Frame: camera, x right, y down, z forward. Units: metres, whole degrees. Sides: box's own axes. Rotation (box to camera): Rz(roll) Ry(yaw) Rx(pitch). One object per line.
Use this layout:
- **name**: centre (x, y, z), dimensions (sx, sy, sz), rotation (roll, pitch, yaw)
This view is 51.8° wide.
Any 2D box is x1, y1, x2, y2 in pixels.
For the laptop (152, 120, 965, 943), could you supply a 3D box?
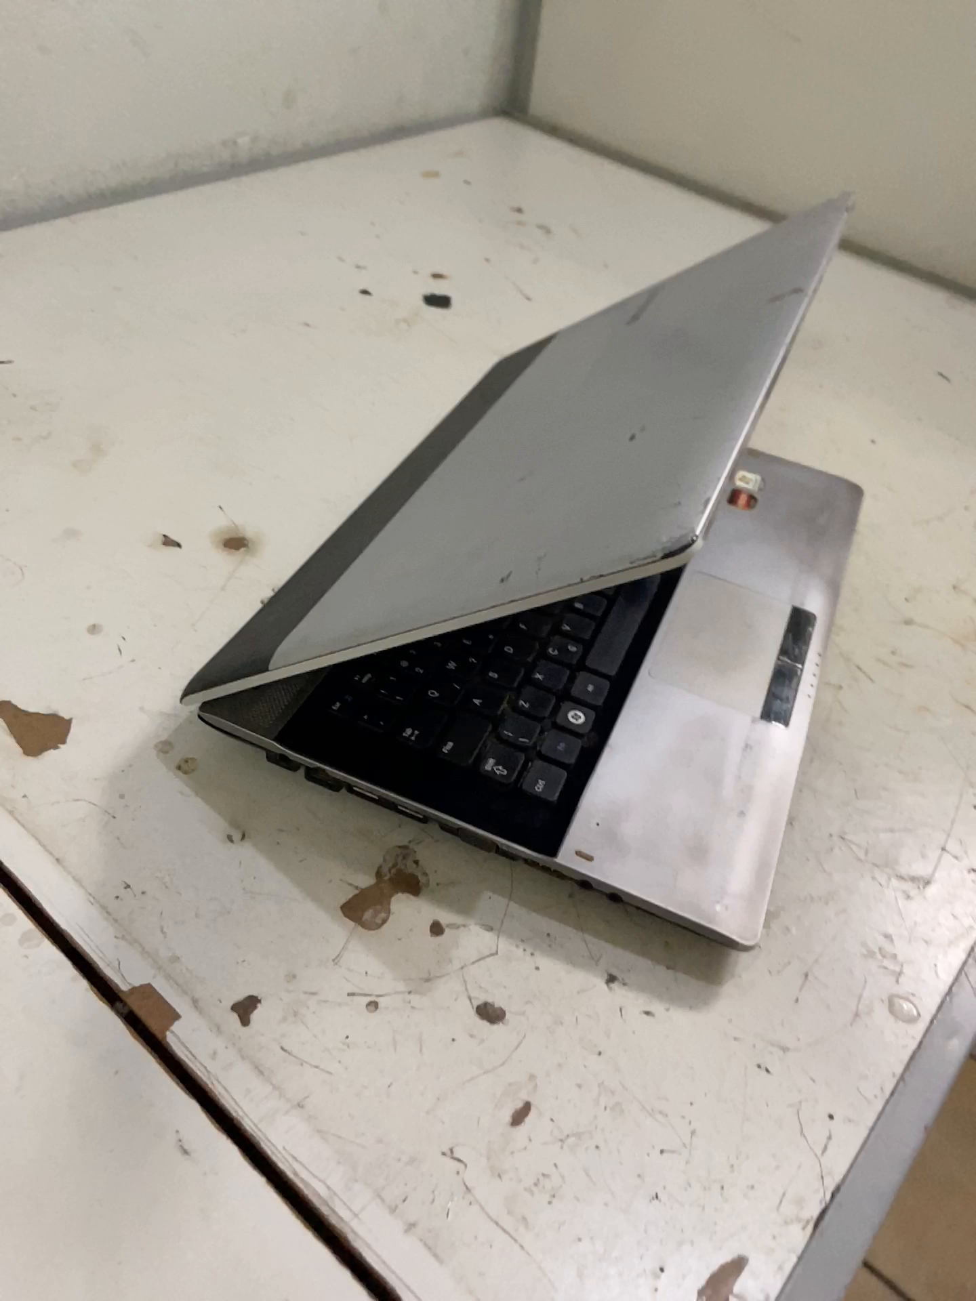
- **laptop**: centre (0.061, -0.094, 0.456), dimensions (0.233, 0.150, 0.346), rotation (20, 43, 12)
